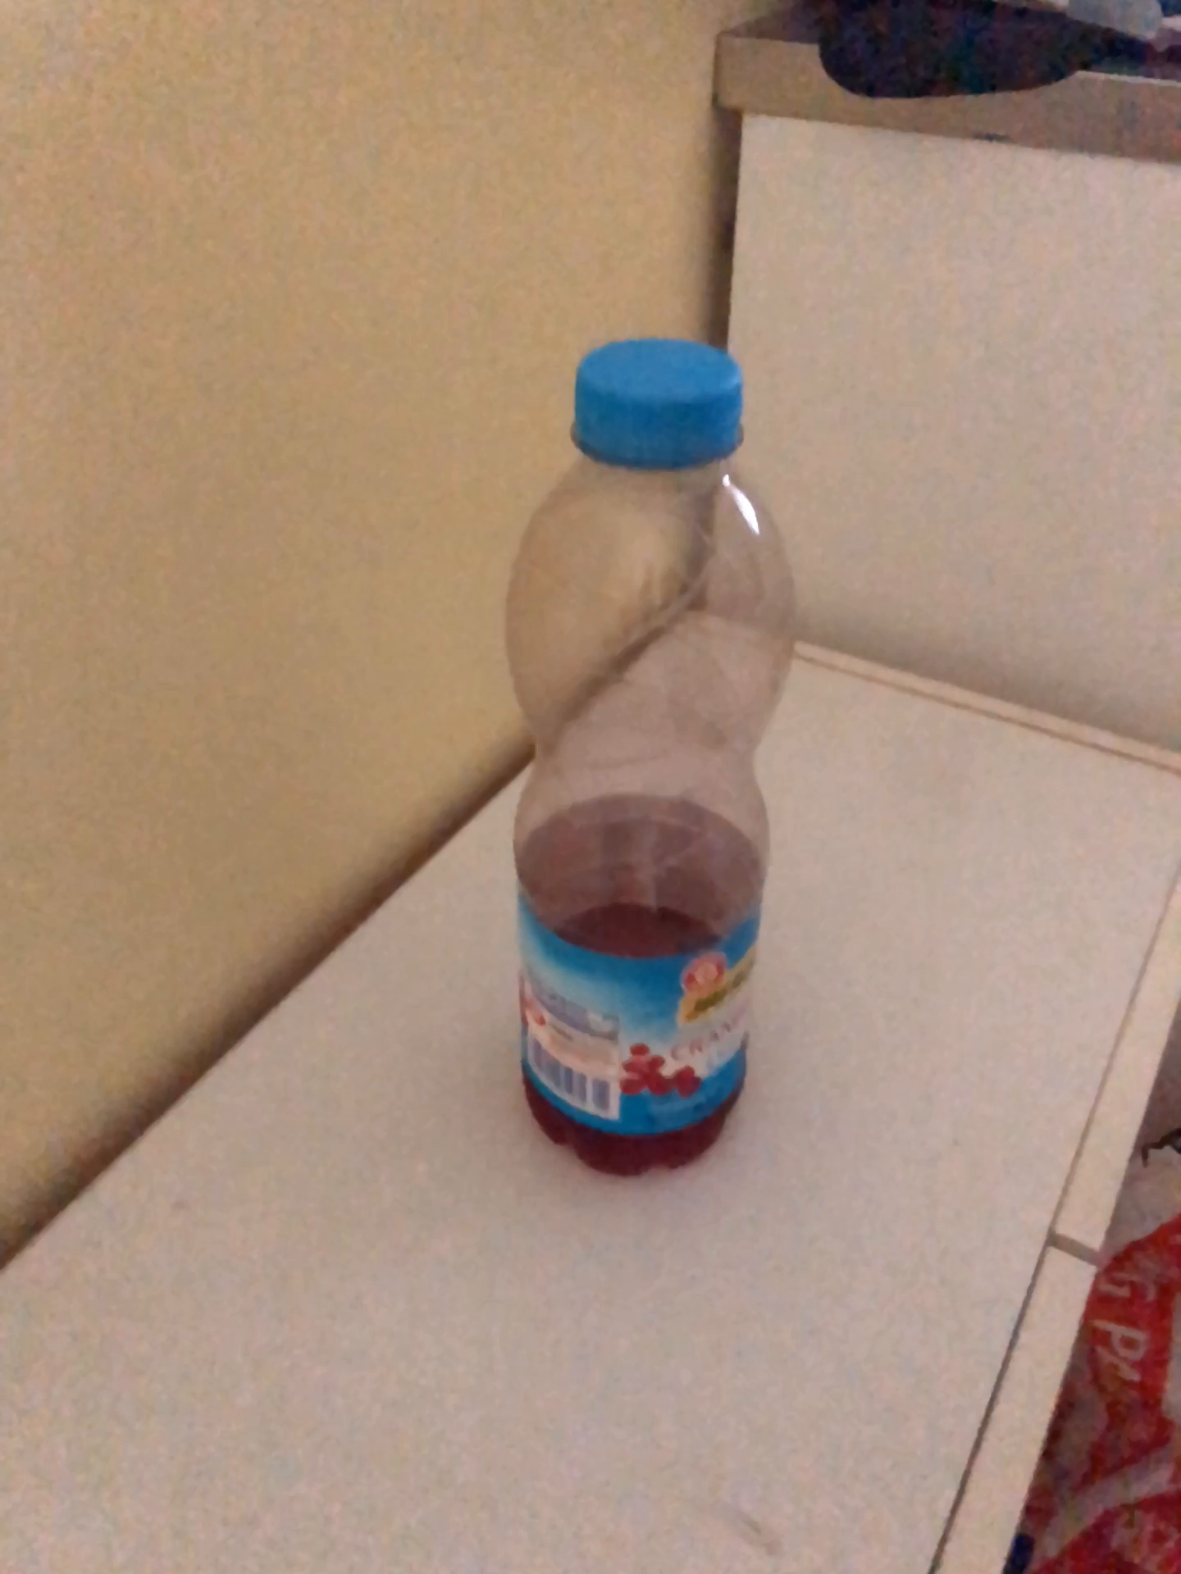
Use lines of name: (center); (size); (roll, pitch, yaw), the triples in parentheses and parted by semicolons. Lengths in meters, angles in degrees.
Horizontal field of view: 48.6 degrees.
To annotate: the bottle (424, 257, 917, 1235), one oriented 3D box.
bottle: (0.020, 0.001, 0.385); (0.080, 0.268, 0.091); (22, 42, 25)
